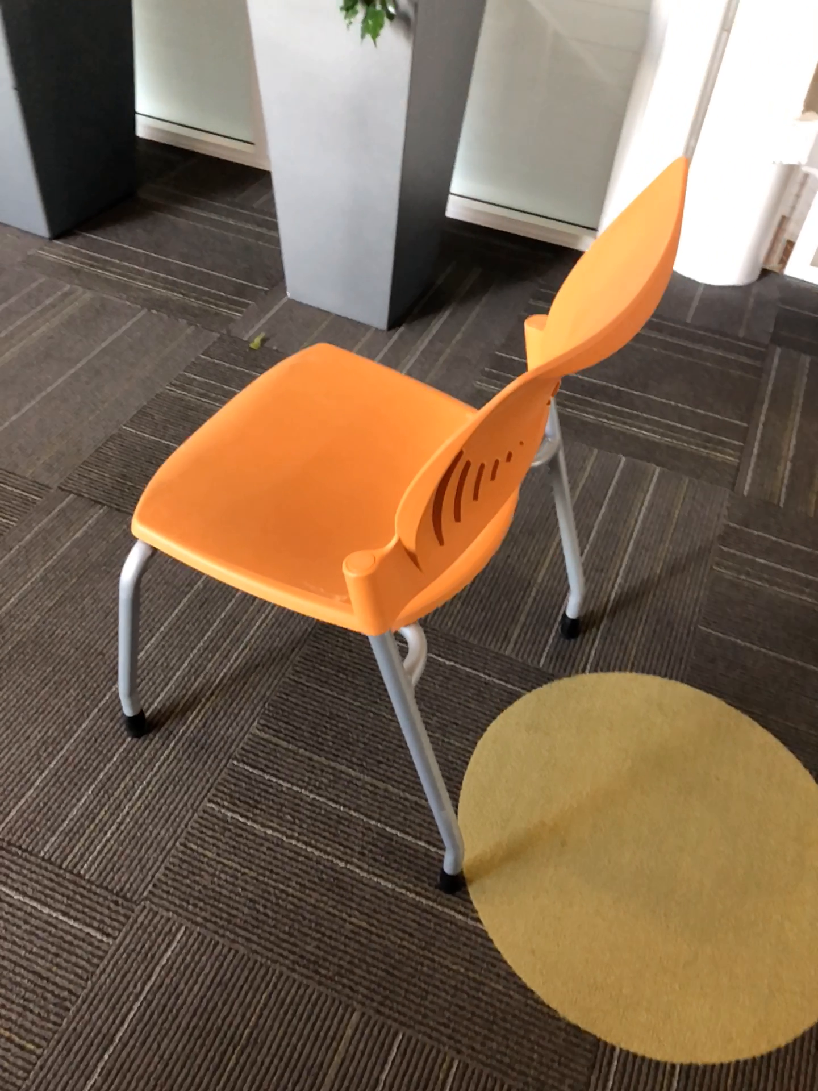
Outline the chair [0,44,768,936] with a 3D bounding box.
[{"bbox_3d":[-0.032,-0.083,1.145,0.610,0.747,0.642,21,47,14],"label":"chair"}]
